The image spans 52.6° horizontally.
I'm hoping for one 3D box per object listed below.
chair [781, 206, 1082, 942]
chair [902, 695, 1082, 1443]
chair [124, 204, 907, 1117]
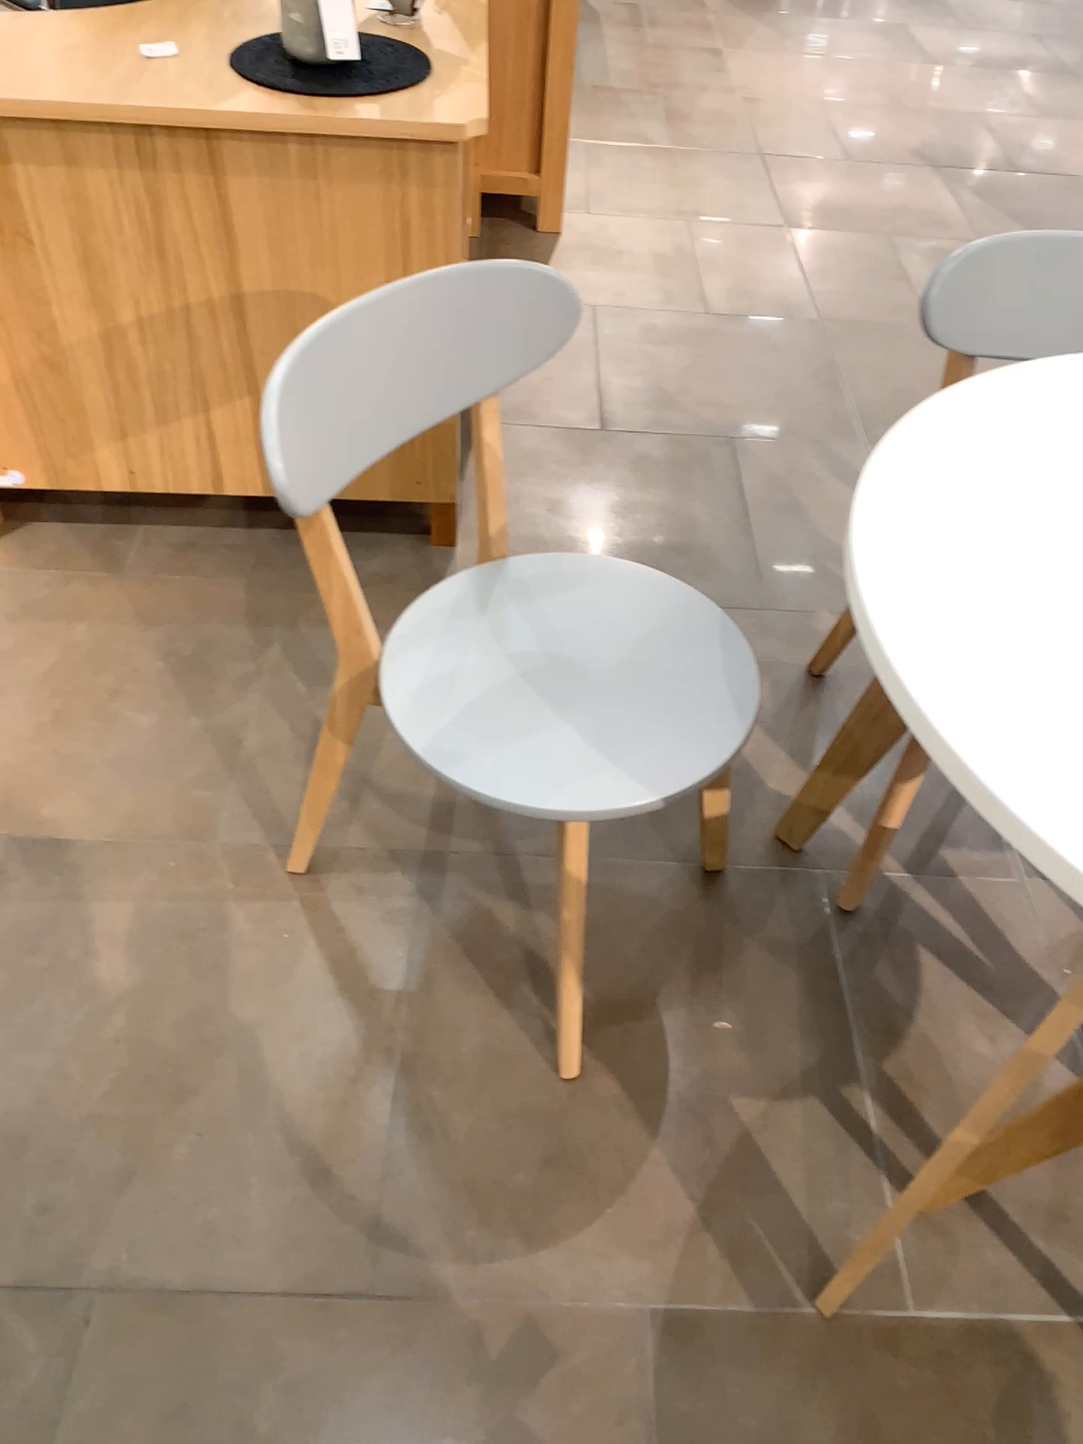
[{"bbox_3d":[0.705,-0.169,1.500,0.519,0.799,0.545,4,46,-1],"label":"chair"},{"bbox_3d":[0.702,0.475,0.840,0.519,0.799,0.545,5,46,0],"label":"chair"},{"bbox_3d":[-0.028,-0.061,1.312,0.532,0.799,0.522,29,50,21],"label":"chair"}]
